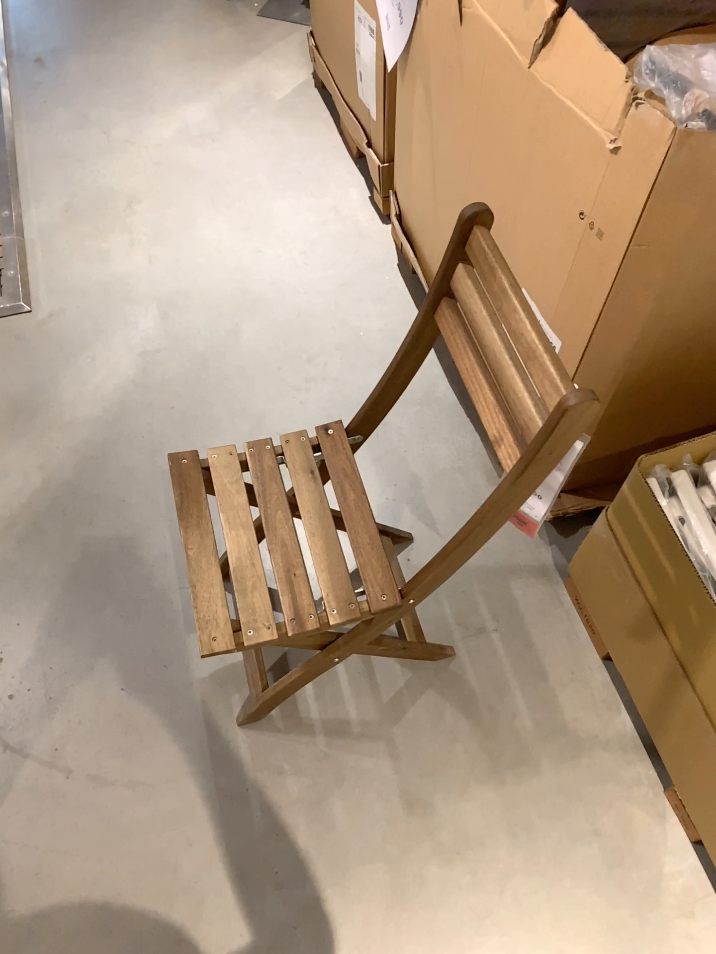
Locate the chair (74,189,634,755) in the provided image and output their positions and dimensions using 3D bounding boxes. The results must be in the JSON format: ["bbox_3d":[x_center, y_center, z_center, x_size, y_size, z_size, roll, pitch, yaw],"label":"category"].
[{"bbox_3d":[-0.036,0.061,1.099,0.510,0.768,0.401,-13,58,-9],"label":"chair"}]
